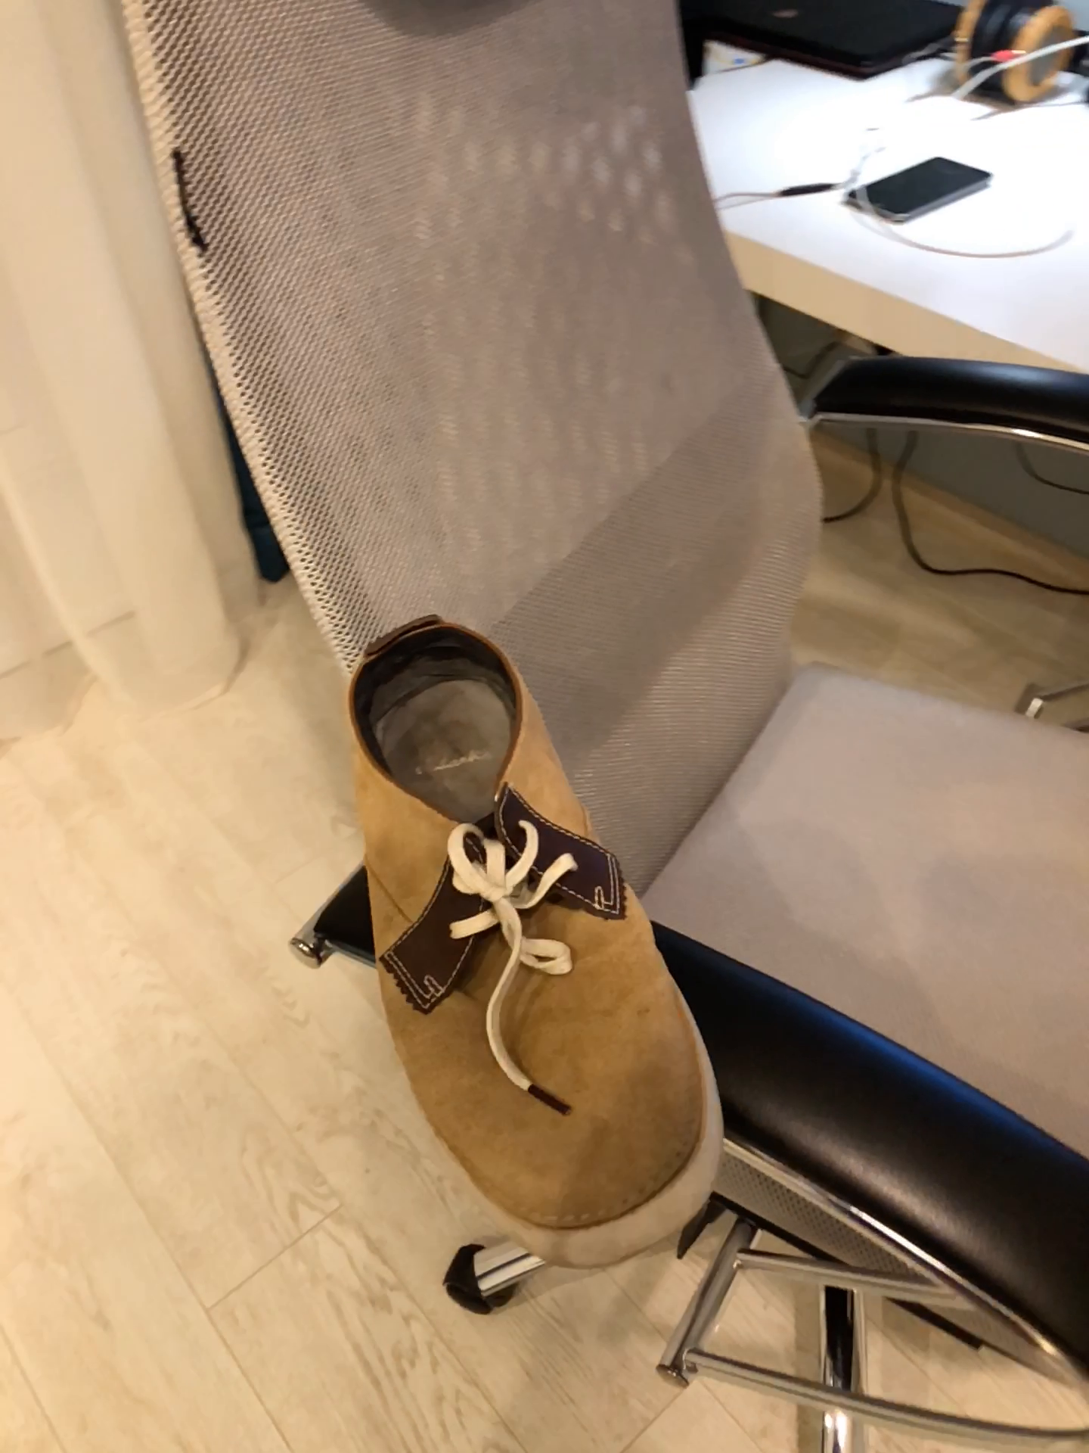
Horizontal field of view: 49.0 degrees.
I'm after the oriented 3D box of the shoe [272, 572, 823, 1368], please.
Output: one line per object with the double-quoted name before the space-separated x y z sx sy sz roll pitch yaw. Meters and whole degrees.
"shoe" -0.019 0.070 0.493 0.120 0.079 0.311 -15 45 -12
